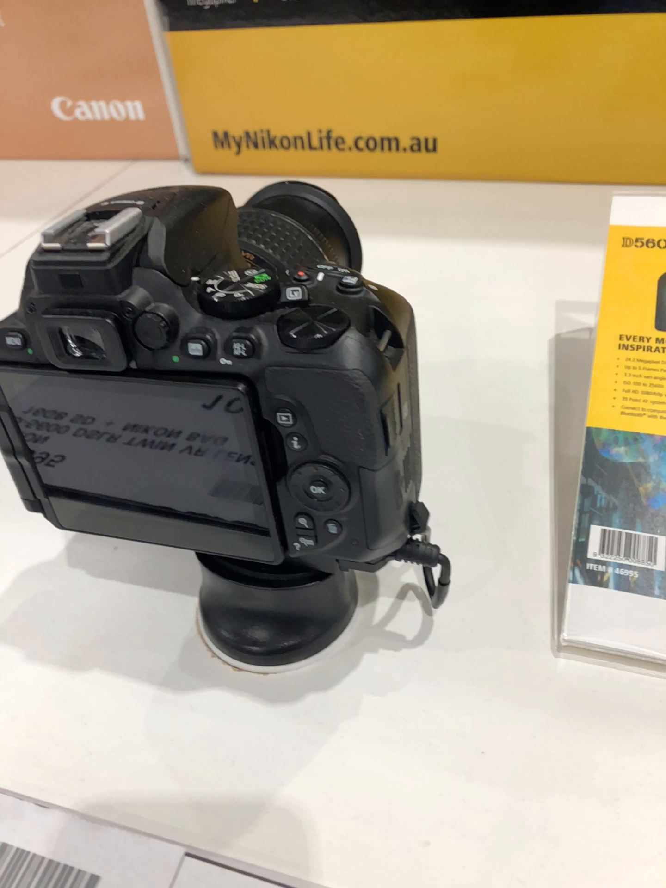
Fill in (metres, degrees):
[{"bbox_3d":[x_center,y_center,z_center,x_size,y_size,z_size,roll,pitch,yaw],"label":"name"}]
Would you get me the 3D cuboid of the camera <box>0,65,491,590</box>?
[{"bbox_3d":[-0.024,-0.055,0.256,0.127,0.096,0.163,7,41,17],"label":"camera"}]
